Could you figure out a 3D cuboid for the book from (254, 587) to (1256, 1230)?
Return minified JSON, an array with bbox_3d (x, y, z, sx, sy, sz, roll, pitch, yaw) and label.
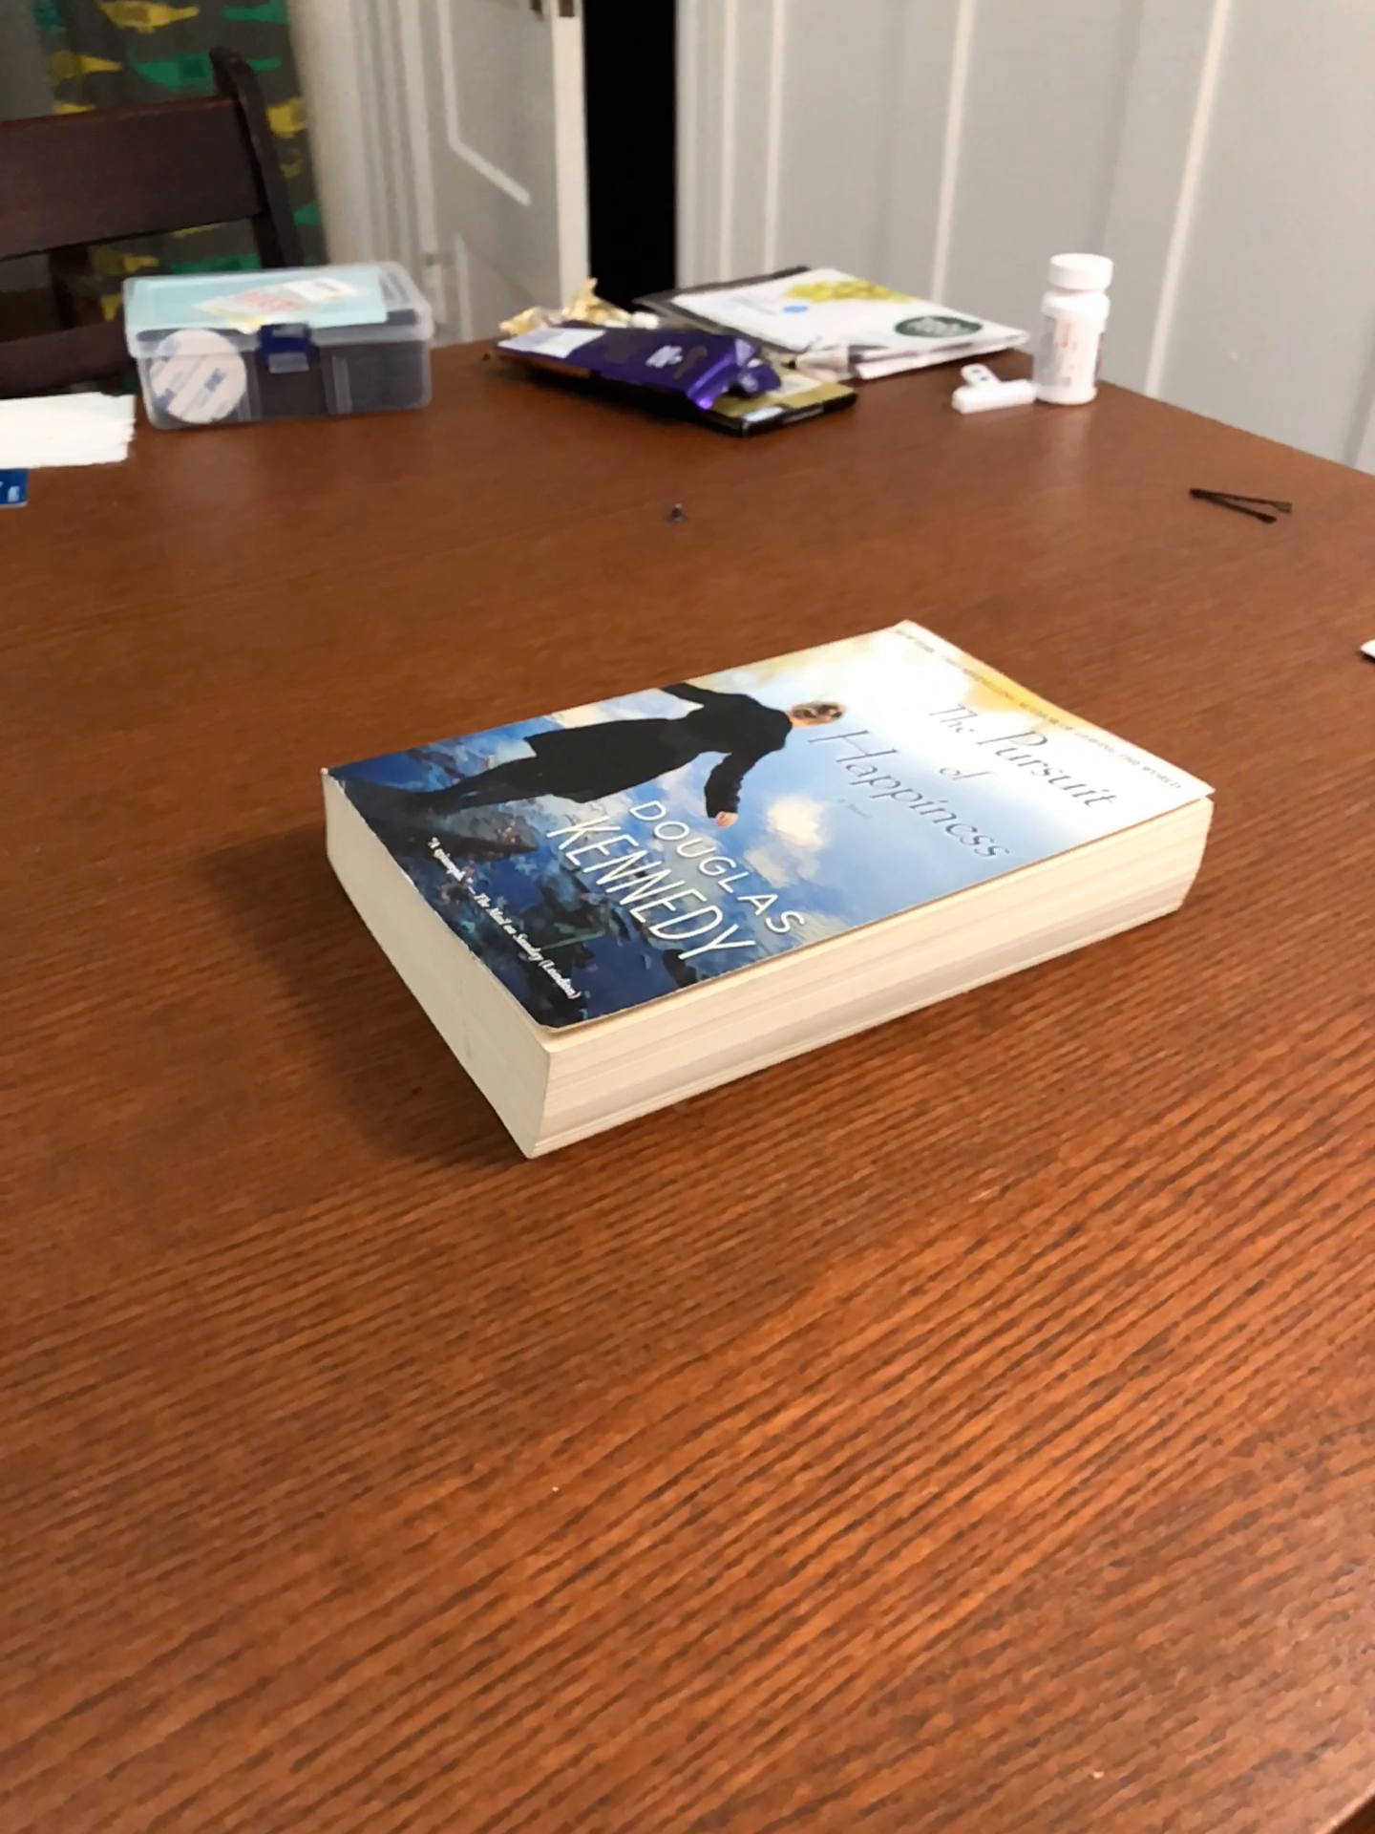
[{"bbox_3d":[0.018,-0.022,0.453,0.241,0.050,0.161,-19,40,-25],"label":"book"}]
